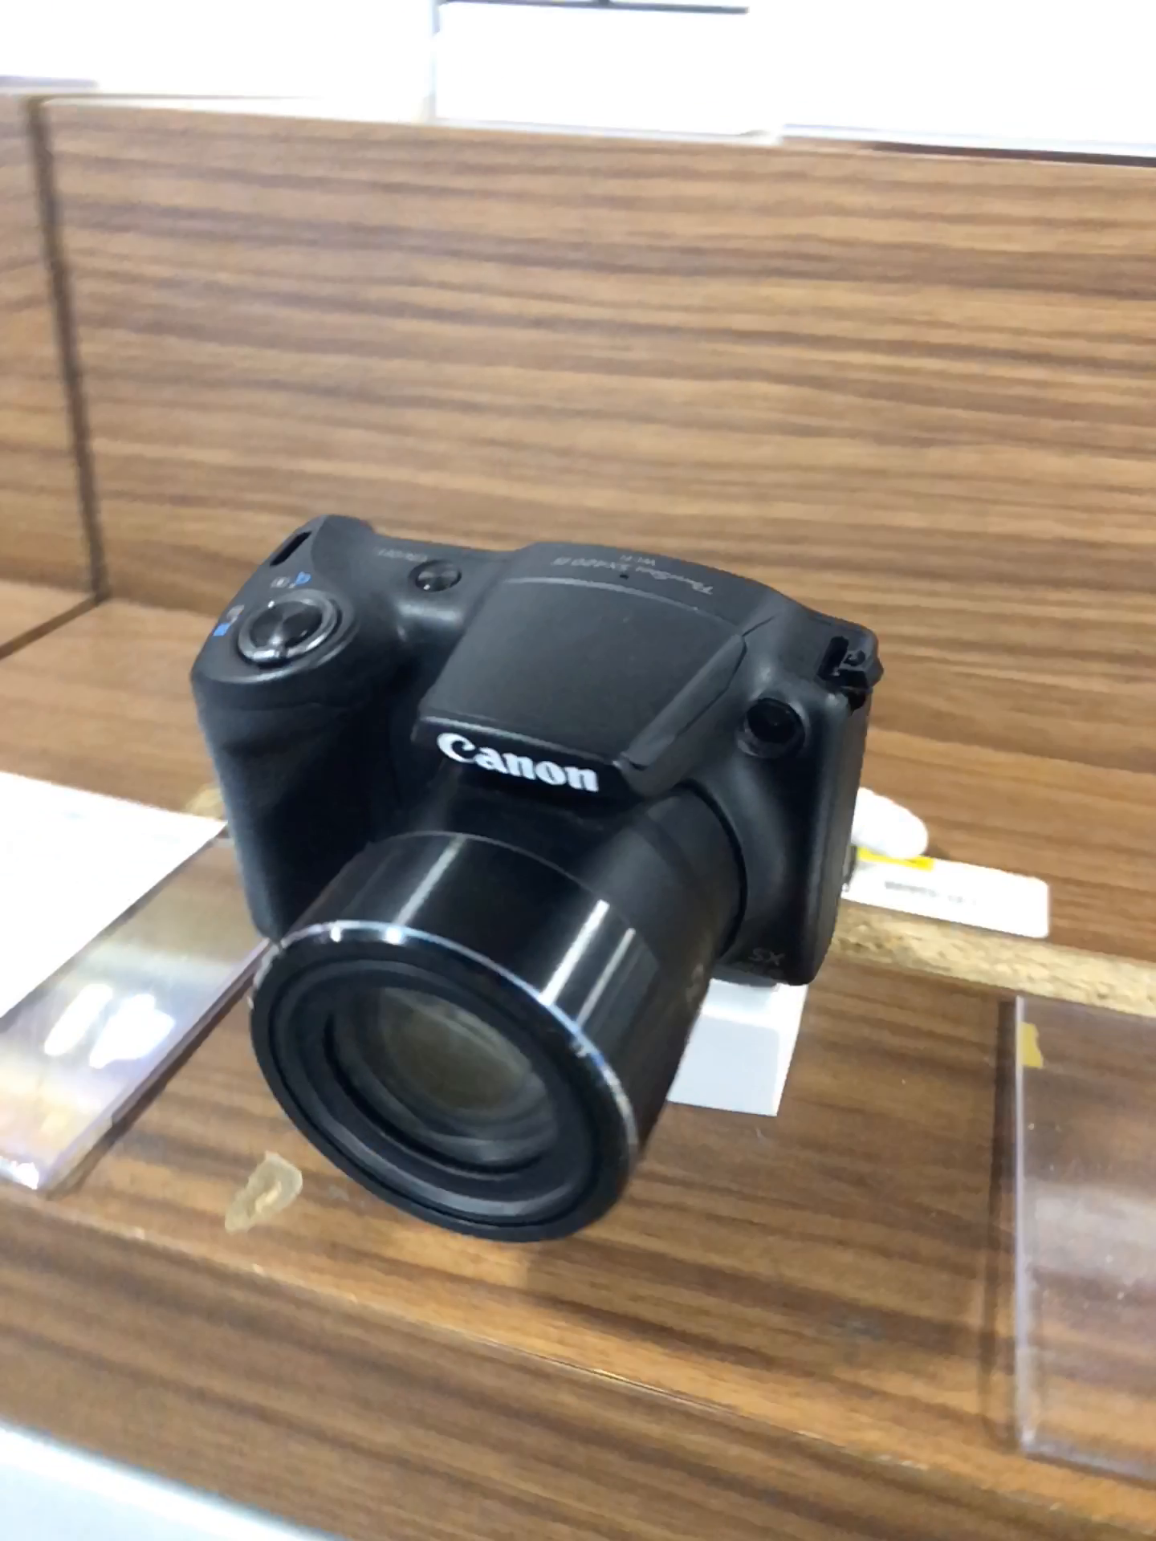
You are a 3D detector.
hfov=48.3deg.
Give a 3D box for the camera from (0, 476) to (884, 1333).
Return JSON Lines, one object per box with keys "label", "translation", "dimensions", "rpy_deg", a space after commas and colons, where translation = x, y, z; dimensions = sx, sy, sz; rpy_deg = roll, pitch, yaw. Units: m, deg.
{"label": "camera", "translation": [-0.016, 0.008, 0.189], "dimensions": [0.100, 0.070, 0.090], "rpy_deg": [11, 28, 15]}
